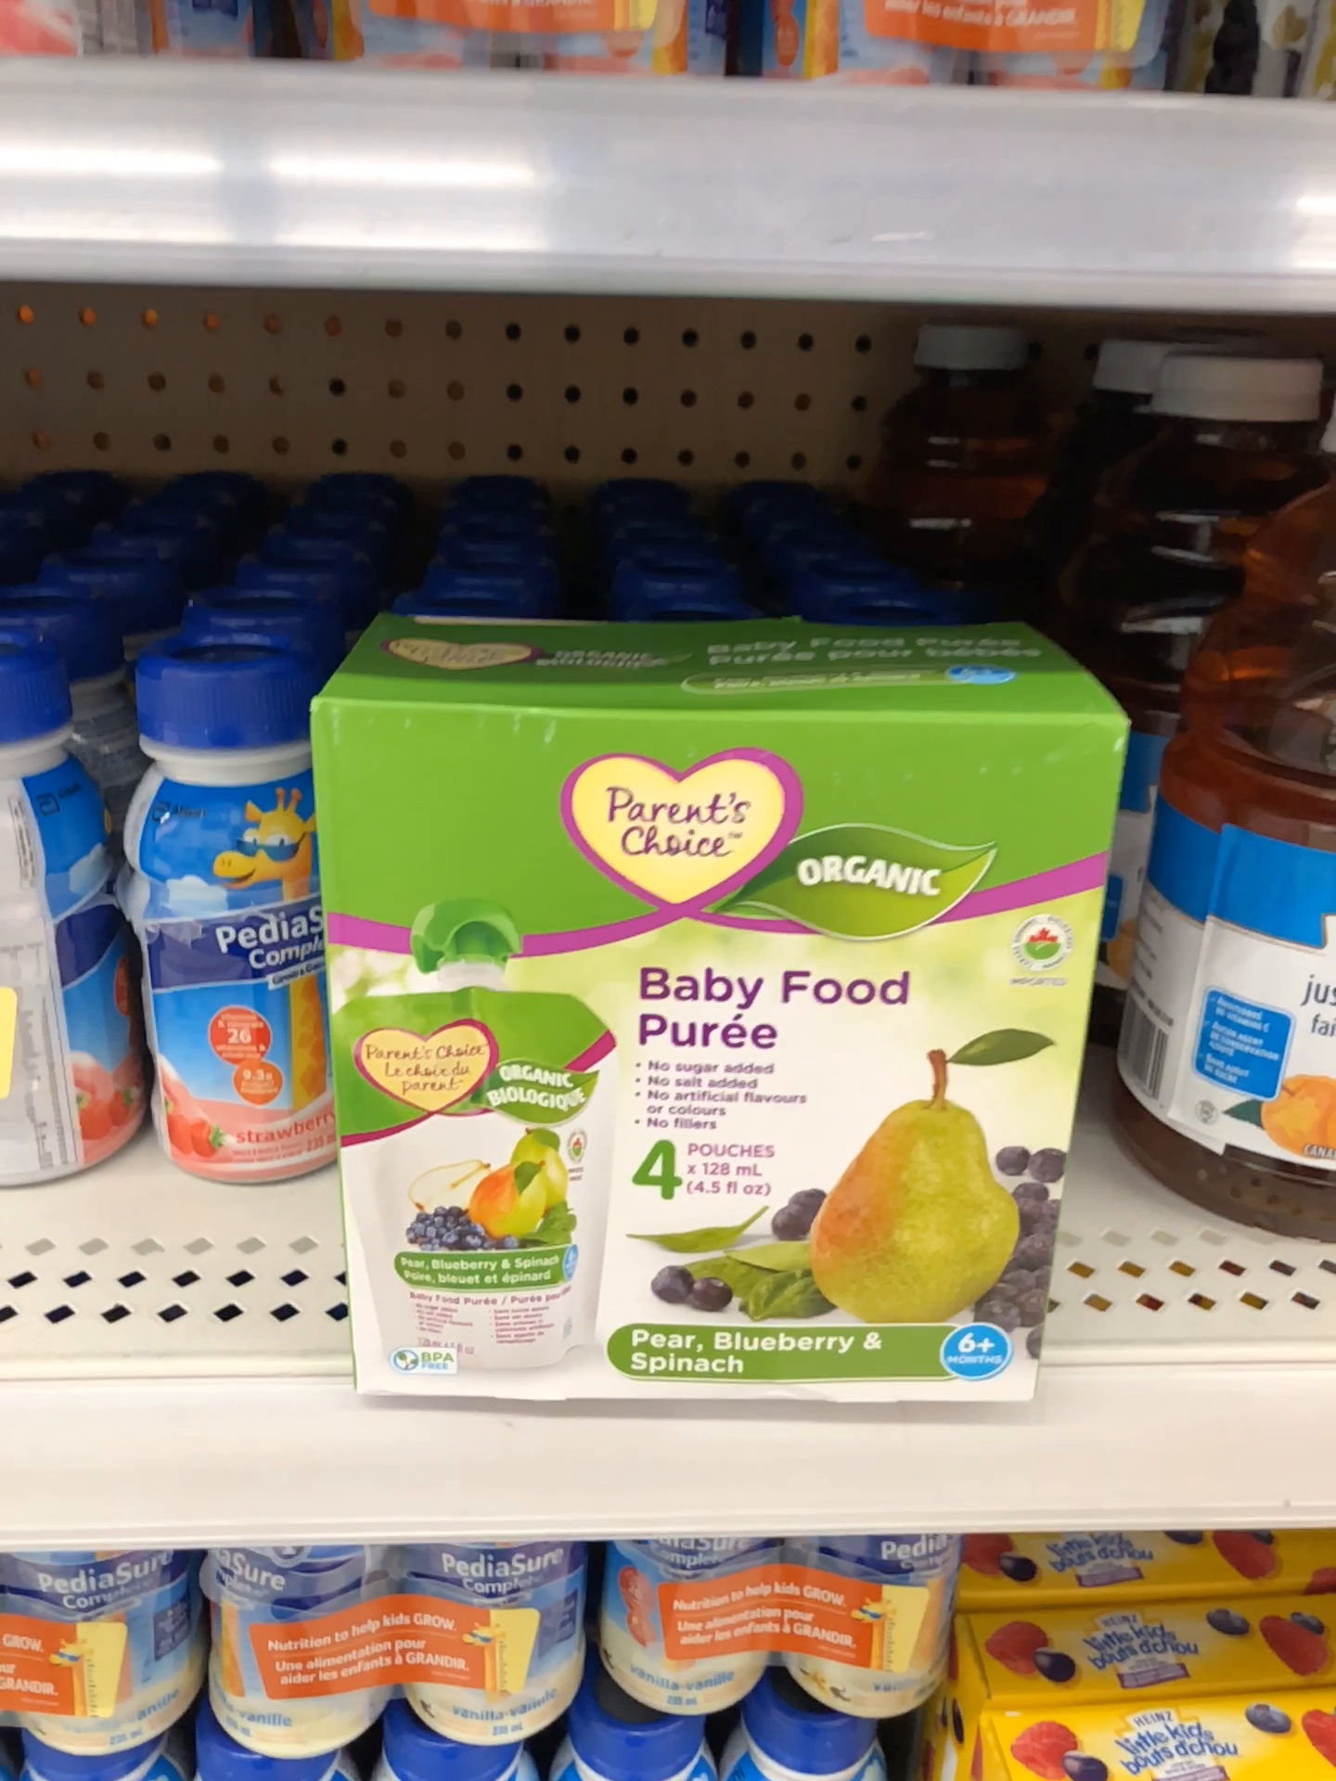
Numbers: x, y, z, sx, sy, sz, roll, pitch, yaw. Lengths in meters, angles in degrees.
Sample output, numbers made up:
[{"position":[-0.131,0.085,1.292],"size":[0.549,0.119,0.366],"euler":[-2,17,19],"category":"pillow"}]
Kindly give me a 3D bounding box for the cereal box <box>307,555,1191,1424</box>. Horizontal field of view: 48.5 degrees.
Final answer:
[{"position":[0.009,0.019,0.322],"size":[0.150,0.159,0.091],"euler":[2,23,-3],"category":"cereal box"}]
